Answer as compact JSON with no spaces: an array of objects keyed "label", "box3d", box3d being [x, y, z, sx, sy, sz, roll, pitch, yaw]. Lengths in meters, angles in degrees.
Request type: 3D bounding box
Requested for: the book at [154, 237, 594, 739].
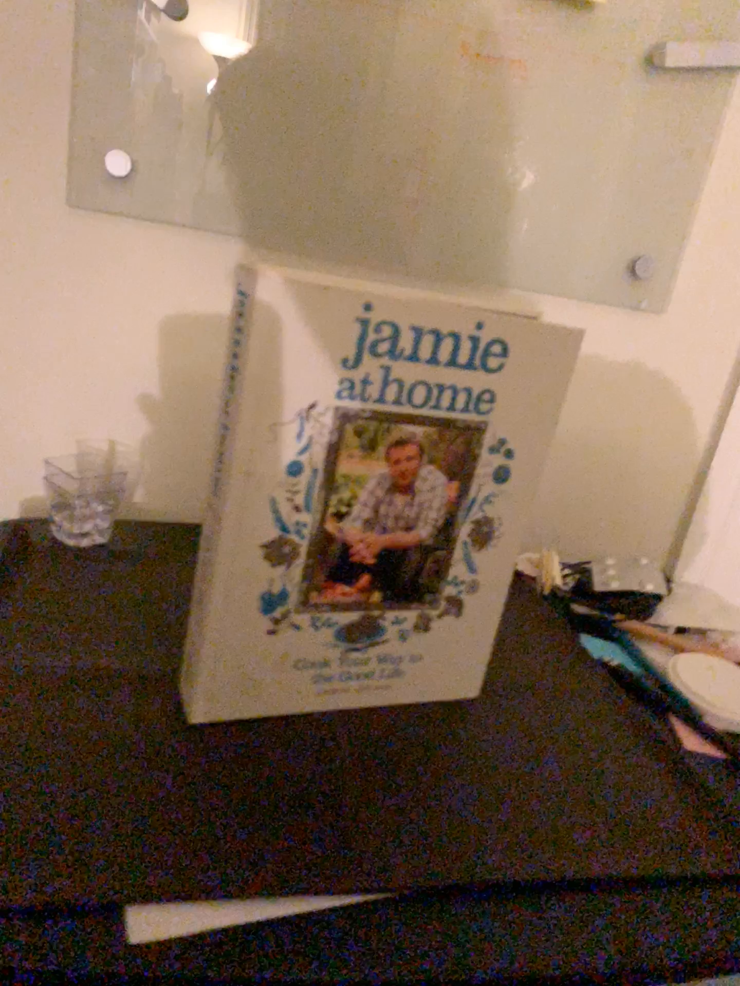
[{"label":"book","box3d":[-0.003,0.008,0.447,0.210,0.269,0.050,3,20,-24]}]
